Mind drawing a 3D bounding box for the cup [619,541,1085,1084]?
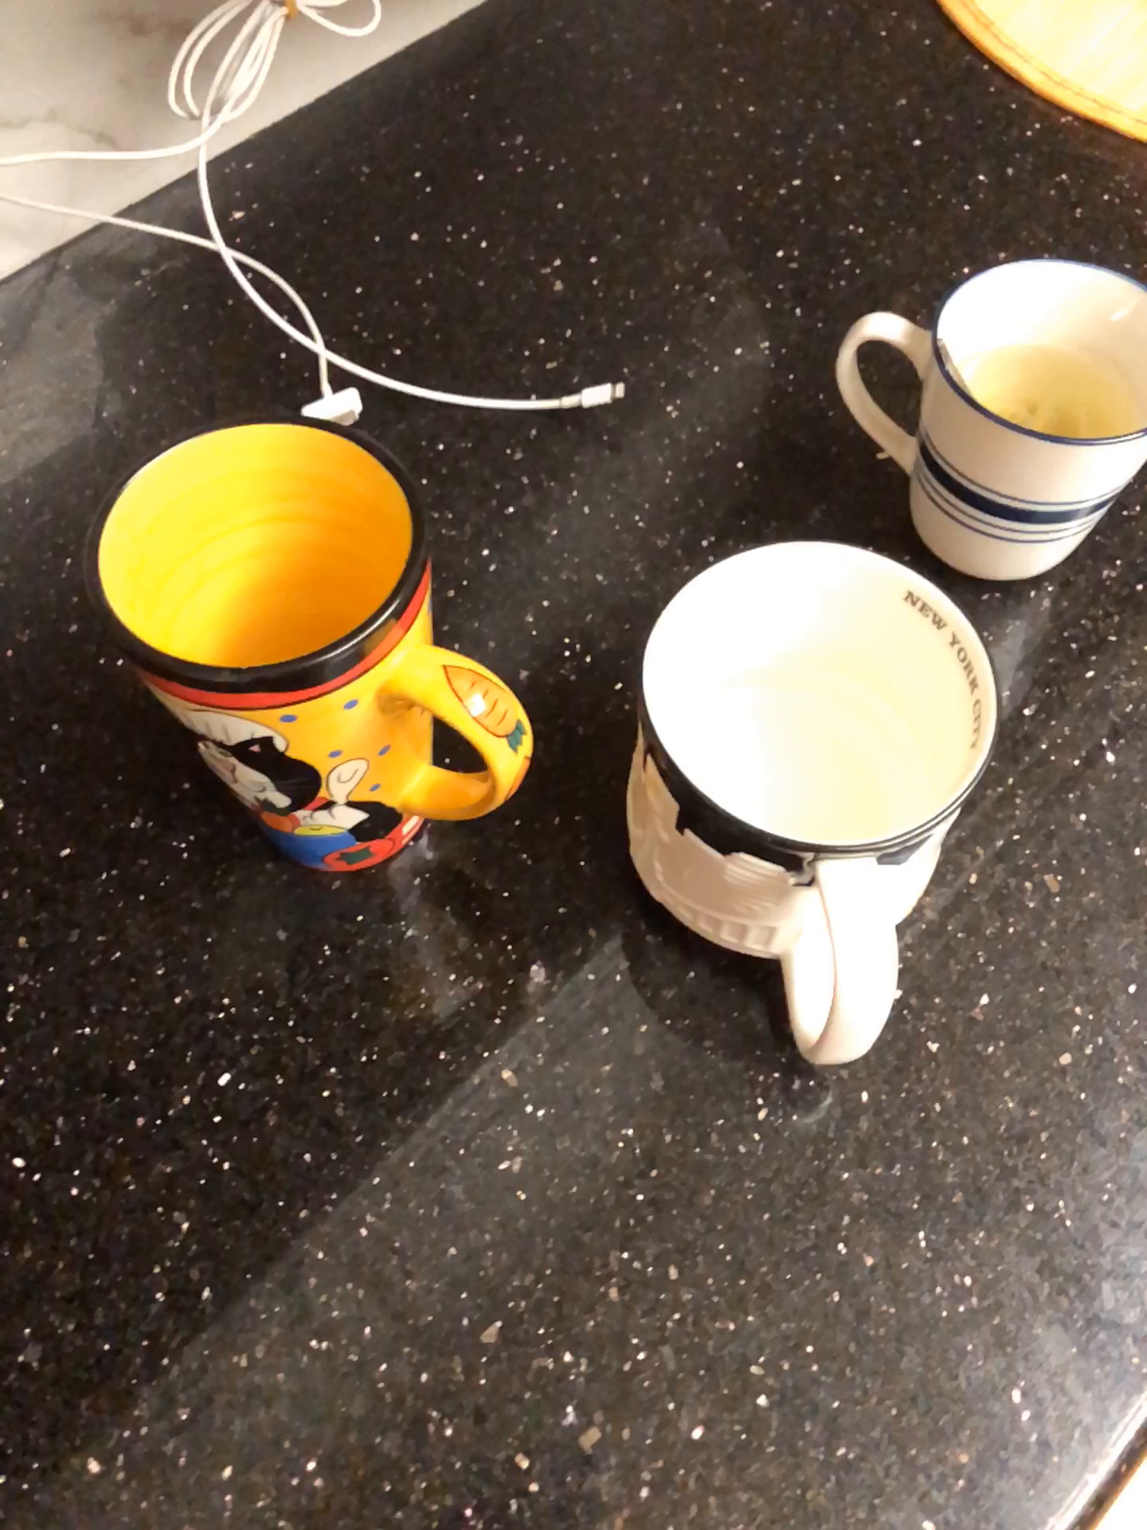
[{"bbox_3d":[0.070,0.014,0.377,0.110,0.080,0.140,0,60,1],"label":"cup"}]

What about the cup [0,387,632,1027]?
[{"bbox_3d":[-0.074,-0.017,0.376,0.150,0.100,0.100,26,64,15],"label":"cup"}]

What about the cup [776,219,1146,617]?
[{"bbox_3d":[0.150,-0.126,0.455,0.120,0.060,0.090,25,63,14],"label":"cup"}]
